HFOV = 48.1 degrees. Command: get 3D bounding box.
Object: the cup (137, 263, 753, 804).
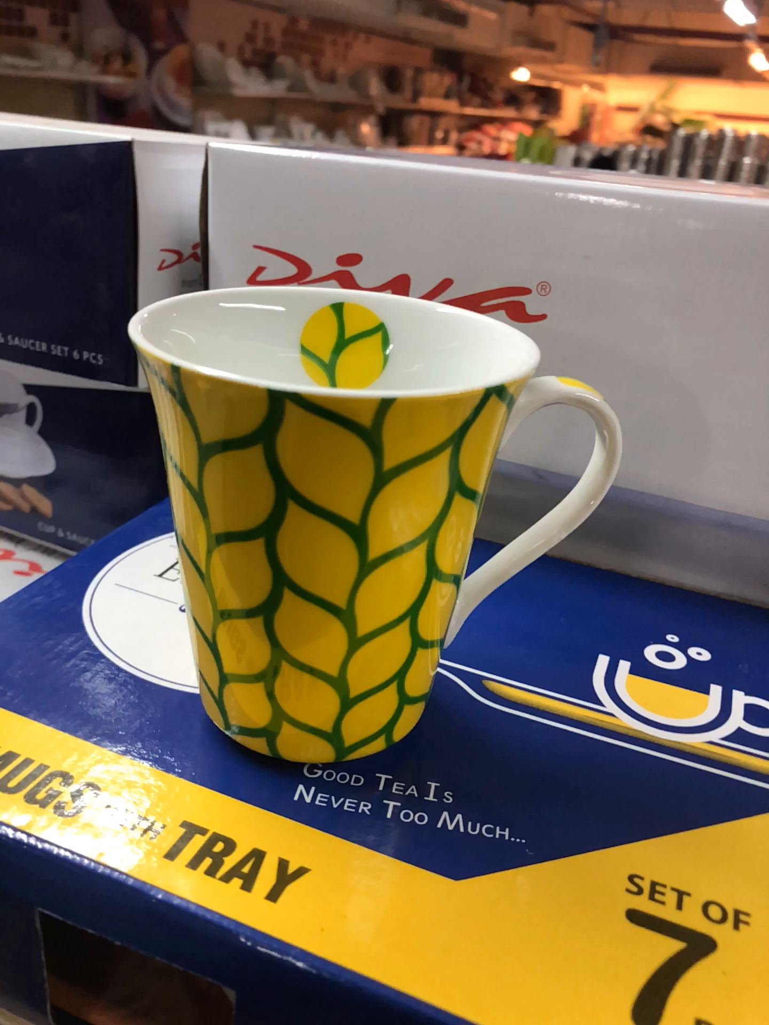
[{"bbox_3d":[0.003,-0.004,0.202,0.110,0.089,0.080,-4,26,-18],"label":"cup"}]
